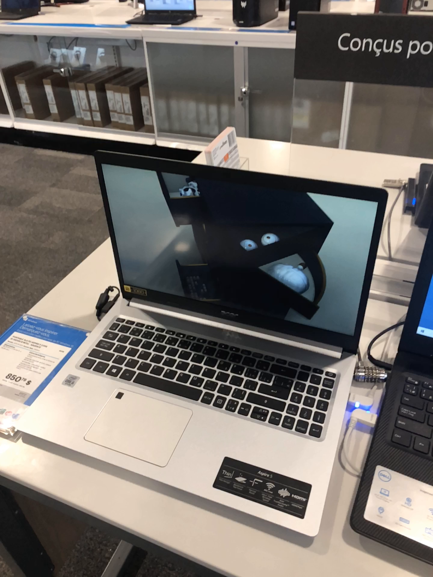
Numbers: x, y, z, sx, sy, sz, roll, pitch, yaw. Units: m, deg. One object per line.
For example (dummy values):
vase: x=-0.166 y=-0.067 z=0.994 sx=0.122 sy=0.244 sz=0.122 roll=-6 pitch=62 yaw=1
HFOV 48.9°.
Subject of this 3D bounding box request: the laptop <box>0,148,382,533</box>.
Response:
laptop: x=-0.032 y=0.024 z=0.532 sx=0.349 sy=0.229 sz=0.267 roll=12 pitch=41 yaw=20
